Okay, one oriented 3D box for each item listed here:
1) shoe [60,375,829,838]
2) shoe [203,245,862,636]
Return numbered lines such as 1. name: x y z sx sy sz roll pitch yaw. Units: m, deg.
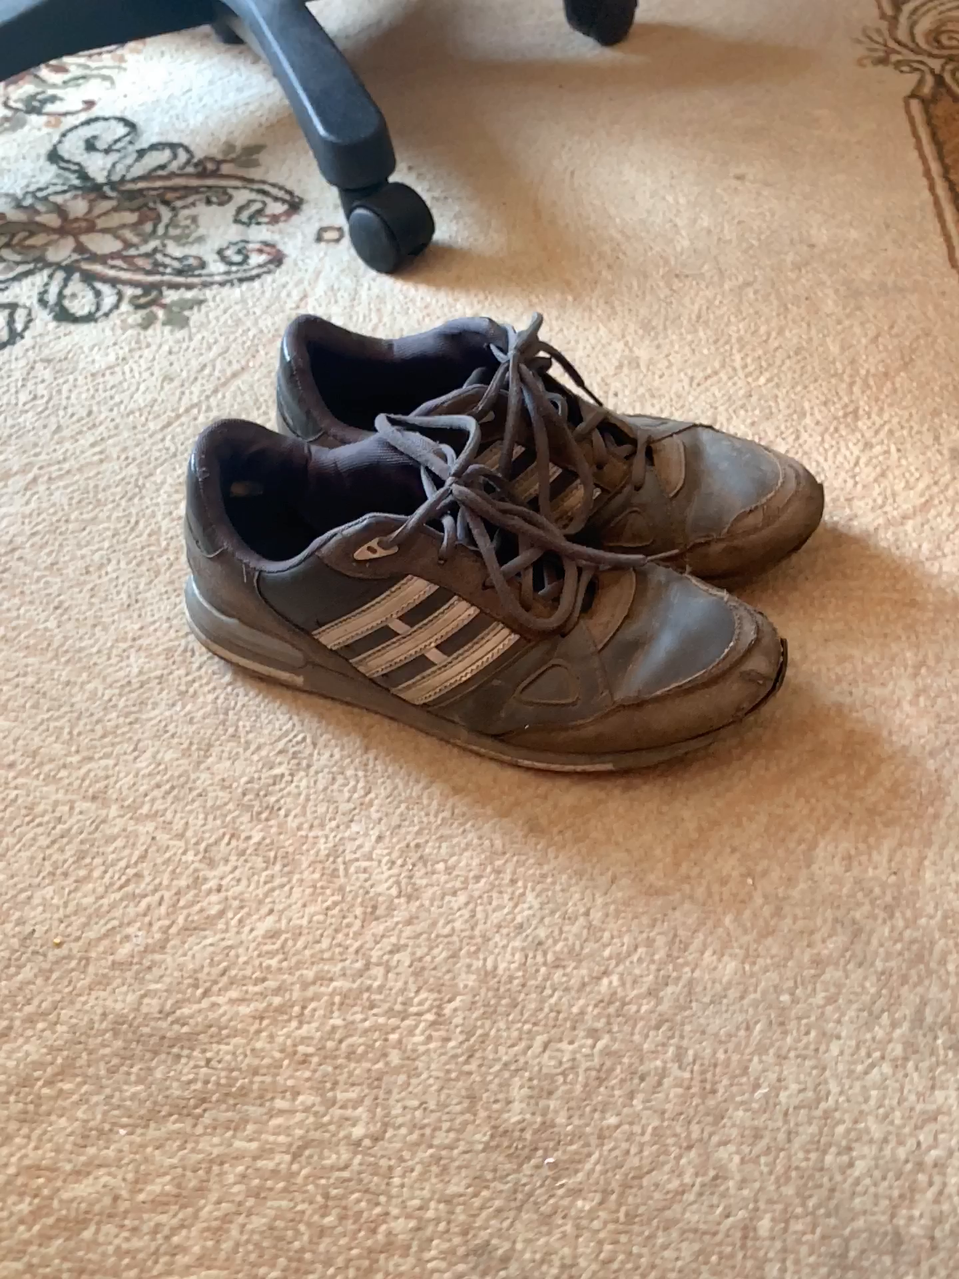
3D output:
1. shoe: -0.014 -0.021 0.469 0.313 0.099 0.117 14 56 12
2. shoe: 0.029 -0.114 0.539 0.310 0.099 0.121 14 56 12
